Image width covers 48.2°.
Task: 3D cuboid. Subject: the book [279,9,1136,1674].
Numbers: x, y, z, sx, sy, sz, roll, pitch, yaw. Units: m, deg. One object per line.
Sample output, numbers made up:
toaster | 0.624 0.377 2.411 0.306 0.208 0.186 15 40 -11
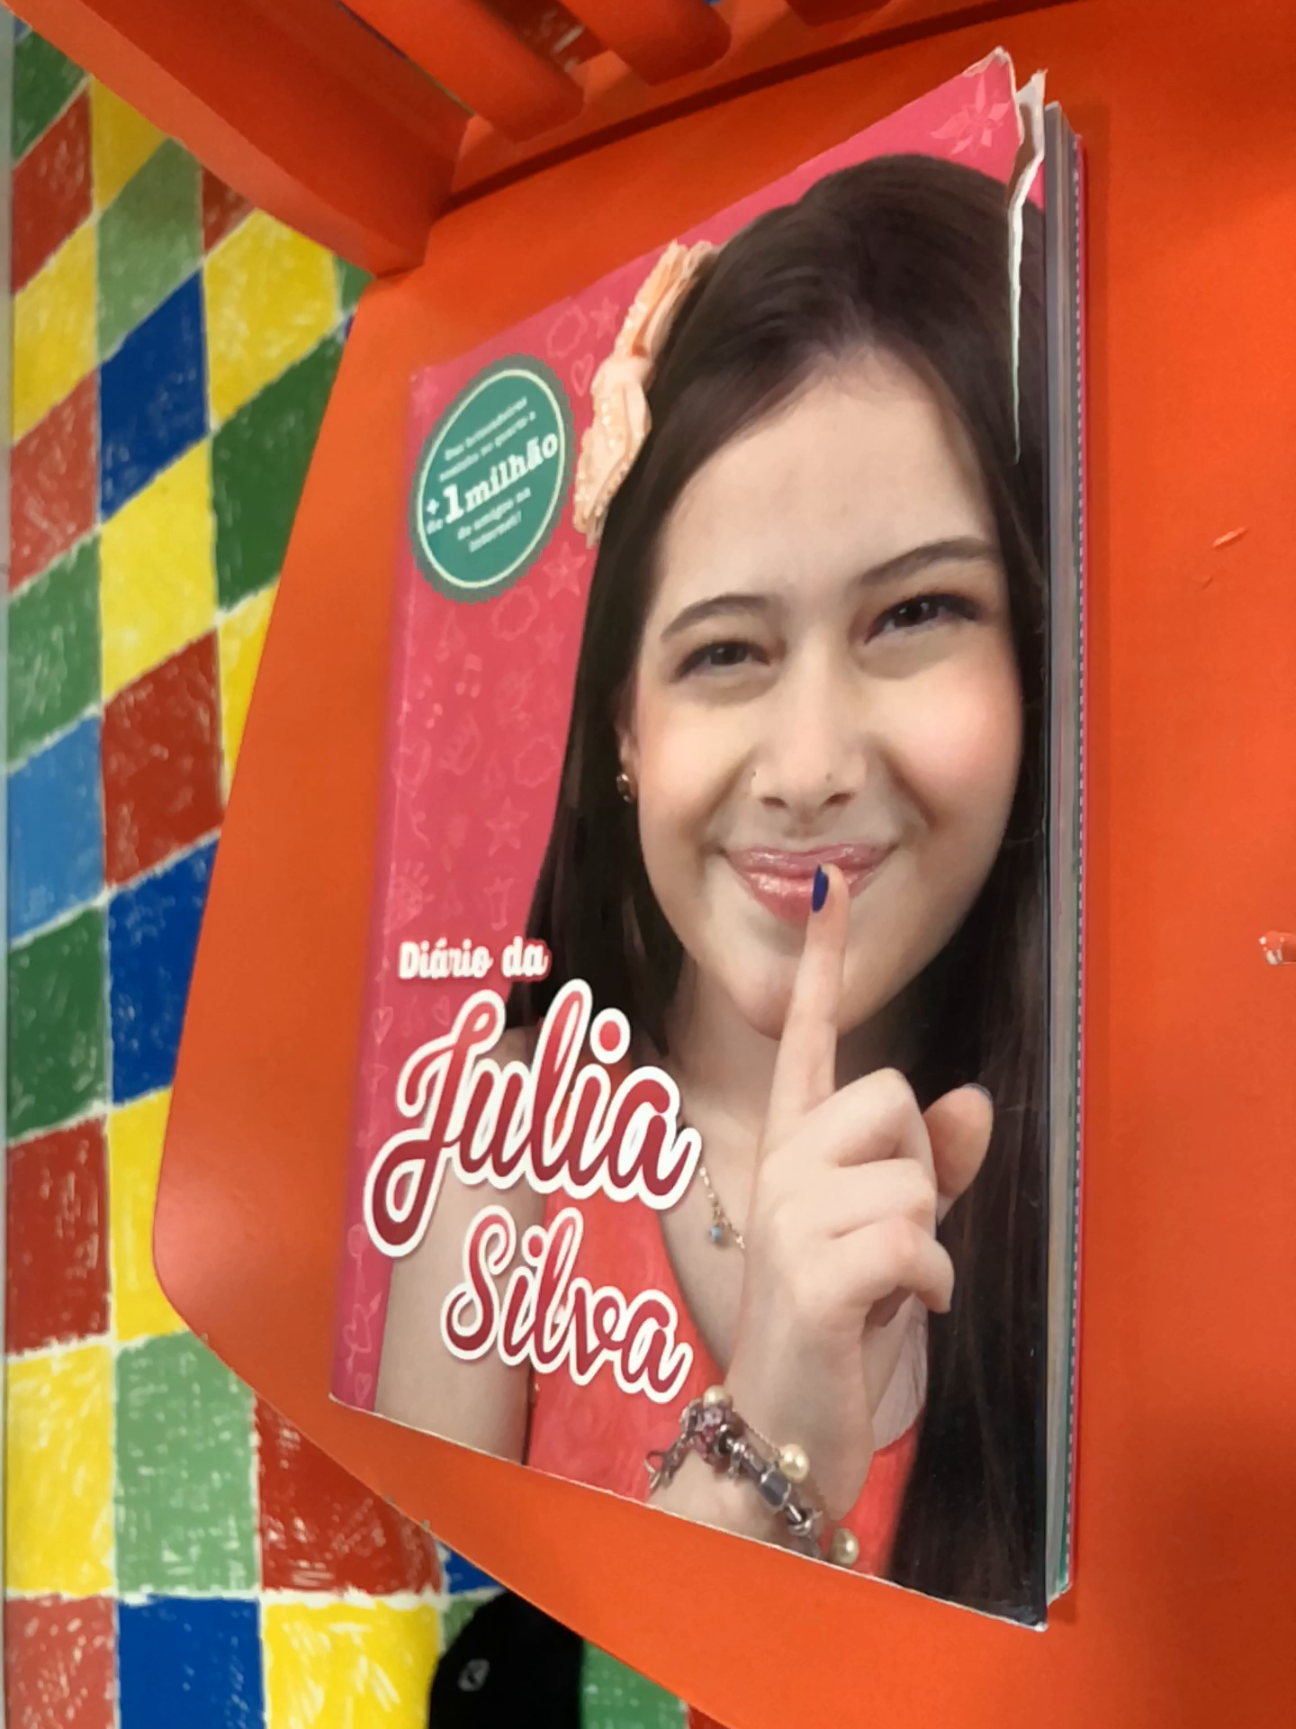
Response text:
book | 0.002 -0.008 0.270 0.171 0.020 0.241 -4 78 41
